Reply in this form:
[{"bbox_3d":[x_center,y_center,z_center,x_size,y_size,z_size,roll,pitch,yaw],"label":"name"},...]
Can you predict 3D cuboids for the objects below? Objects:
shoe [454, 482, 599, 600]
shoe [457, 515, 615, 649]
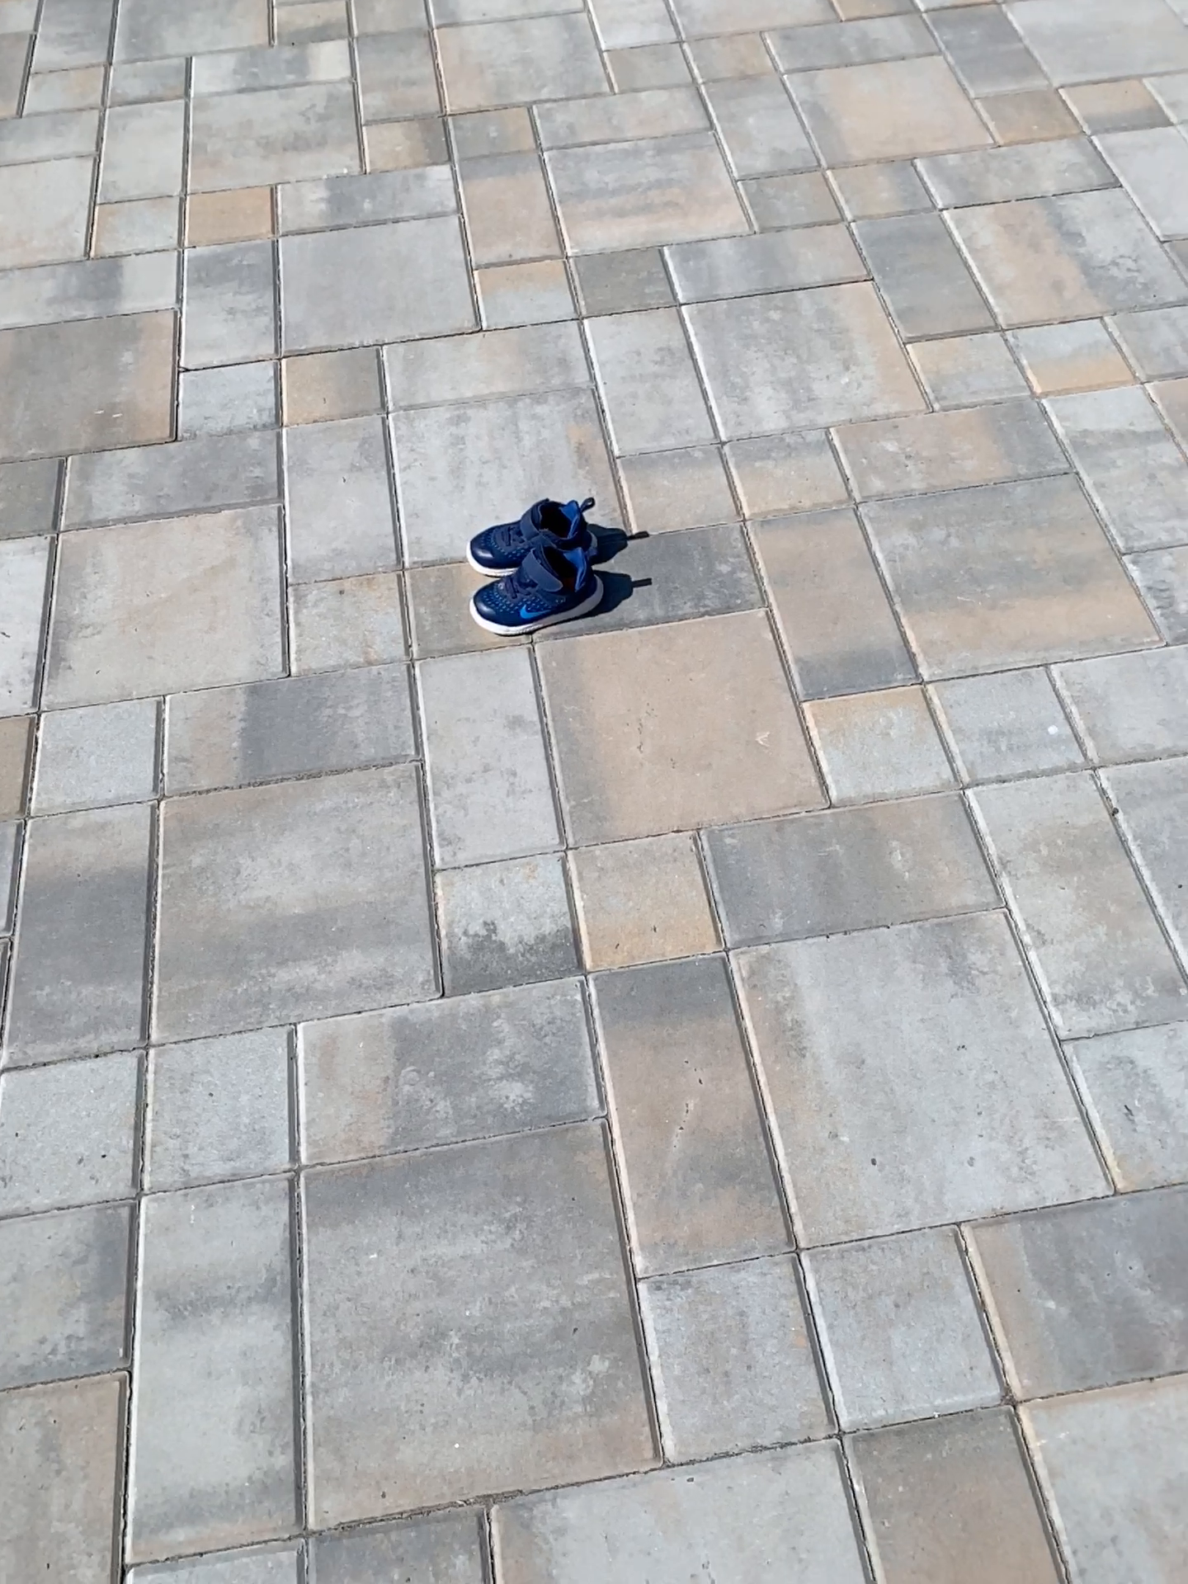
[{"bbox_3d":[-0.085,-0.320,1.547,0.170,0.090,0.090,-8,57,-3],"label":"shoe"},{"bbox_3d":[-0.069,-0.256,1.478,0.170,0.090,0.090,-14,58,-6],"label":"shoe"}]
